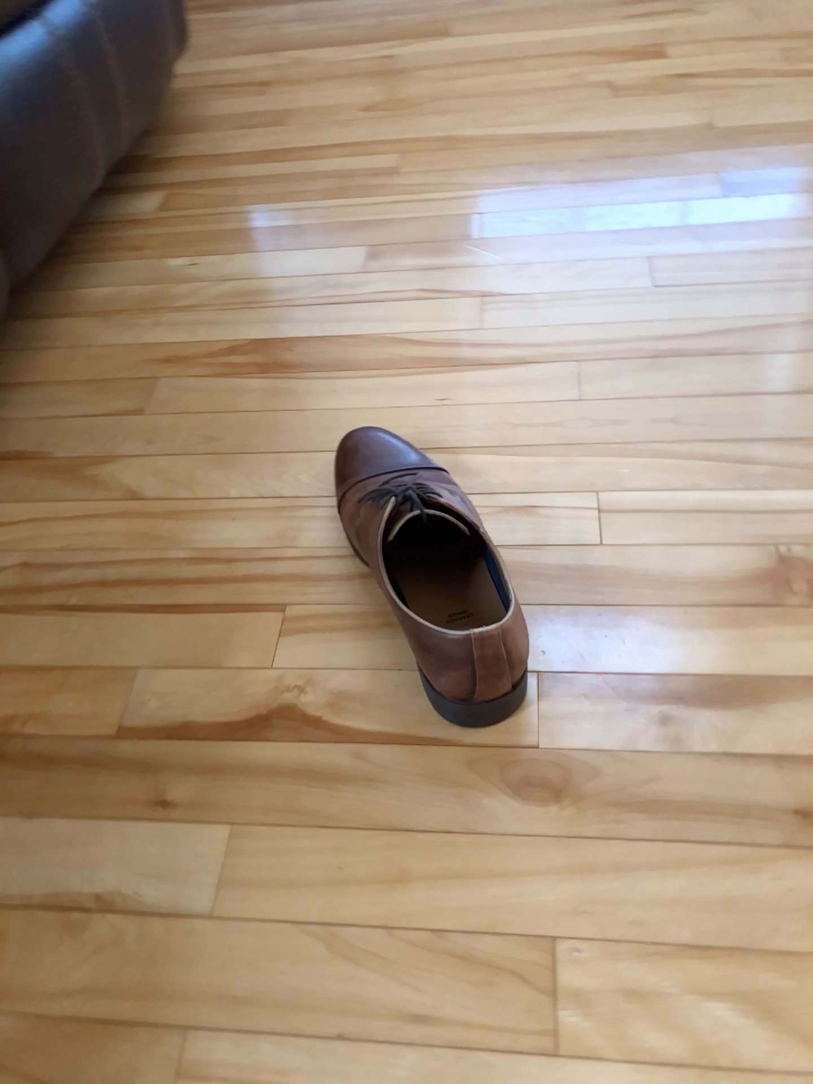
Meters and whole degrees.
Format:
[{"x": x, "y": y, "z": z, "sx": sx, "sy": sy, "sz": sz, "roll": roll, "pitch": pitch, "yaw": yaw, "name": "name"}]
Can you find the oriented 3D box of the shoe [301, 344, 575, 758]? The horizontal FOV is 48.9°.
[{"x": 0.013, "y": -0.011, "z": 0.667, "sx": 0.100, "sy": 0.100, "sz": 0.311, "roll": -17, "pitch": 47, "yaw": -7, "name": "shoe"}]
